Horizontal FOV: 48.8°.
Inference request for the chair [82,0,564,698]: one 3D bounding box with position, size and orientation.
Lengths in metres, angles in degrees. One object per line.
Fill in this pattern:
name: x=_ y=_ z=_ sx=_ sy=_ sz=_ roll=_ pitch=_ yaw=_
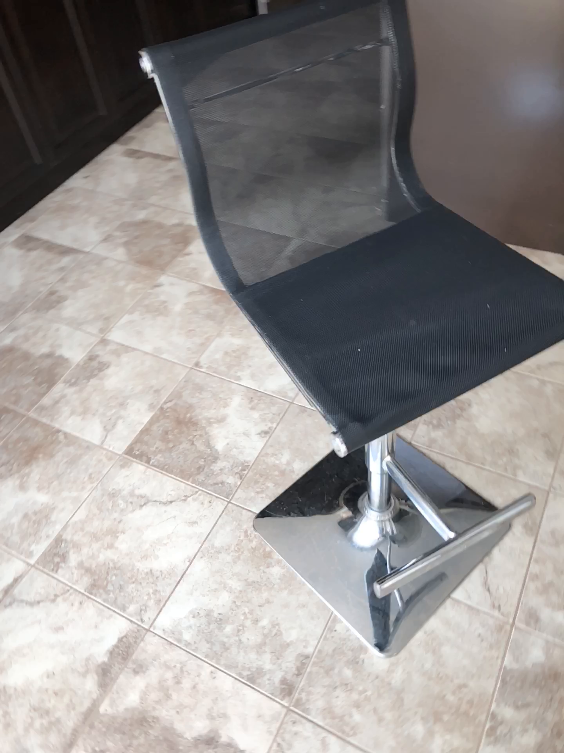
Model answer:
chair: x=0.171 y=-0.024 z=1.015 sx=0.540 sy=0.977 sz=0.552 roll=-25 pitch=49 yaw=-14
